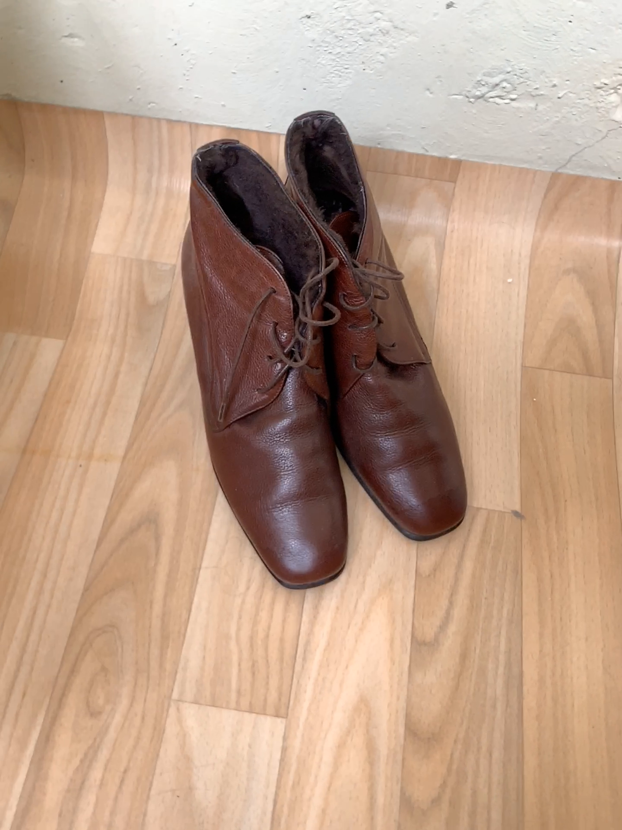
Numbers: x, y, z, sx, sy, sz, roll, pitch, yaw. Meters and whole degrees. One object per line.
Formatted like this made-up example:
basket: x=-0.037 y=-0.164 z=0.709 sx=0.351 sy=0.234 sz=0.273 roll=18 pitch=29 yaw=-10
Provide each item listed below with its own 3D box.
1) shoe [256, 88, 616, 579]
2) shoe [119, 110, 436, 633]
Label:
shoe: x=0.045 y=-0.040 z=0.365 sx=0.080 sy=0.150 sz=0.220 roll=-18 pitch=67 yaw=-10
shoe: x=-0.026 y=-0.016 z=0.340 sx=0.080 sy=0.150 sz=0.220 roll=-14 pitch=66 yaw=-8
